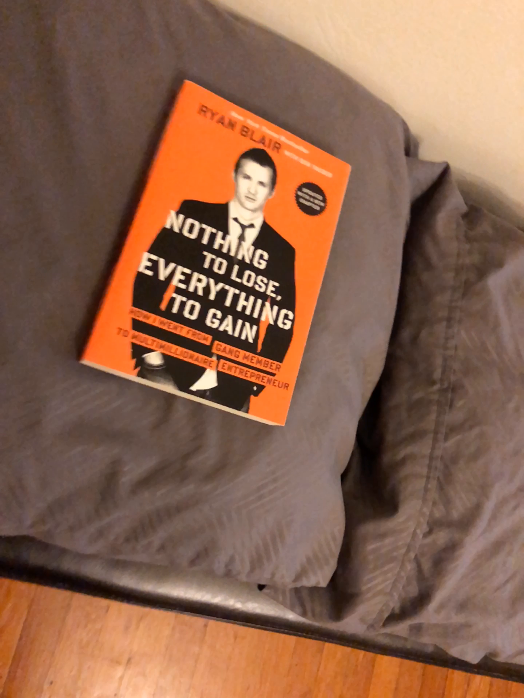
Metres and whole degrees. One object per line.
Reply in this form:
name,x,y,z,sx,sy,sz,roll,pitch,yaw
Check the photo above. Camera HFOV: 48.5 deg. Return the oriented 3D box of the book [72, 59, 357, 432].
book,-0.022,-0.073,0.421,0.150,0.020,0.230,22,73,-22
